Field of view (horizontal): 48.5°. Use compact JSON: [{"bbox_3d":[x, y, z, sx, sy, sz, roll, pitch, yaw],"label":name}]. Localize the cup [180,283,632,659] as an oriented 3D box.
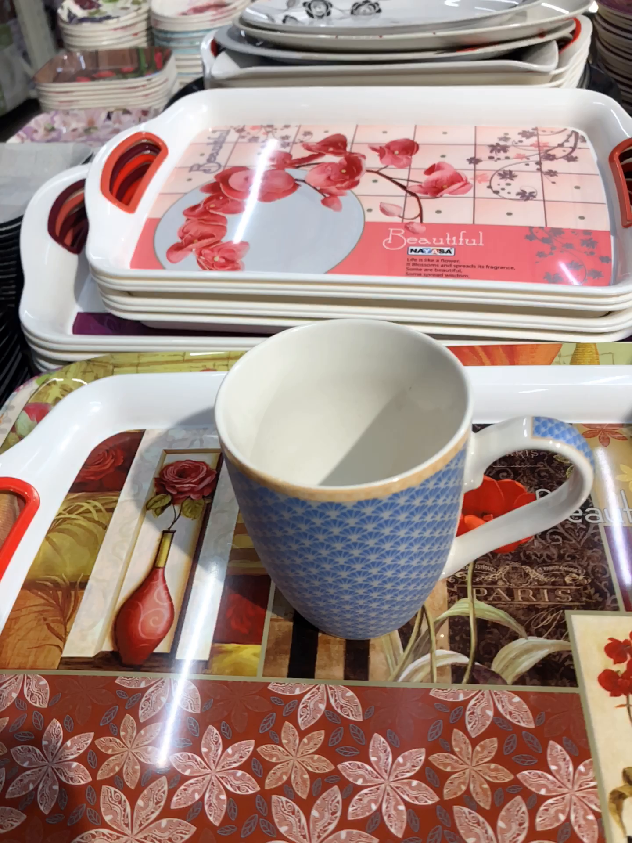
[{"bbox_3d":[0.029,0.017,0.243,0.120,0.099,0.081,0,41,5],"label":"cup"}]
